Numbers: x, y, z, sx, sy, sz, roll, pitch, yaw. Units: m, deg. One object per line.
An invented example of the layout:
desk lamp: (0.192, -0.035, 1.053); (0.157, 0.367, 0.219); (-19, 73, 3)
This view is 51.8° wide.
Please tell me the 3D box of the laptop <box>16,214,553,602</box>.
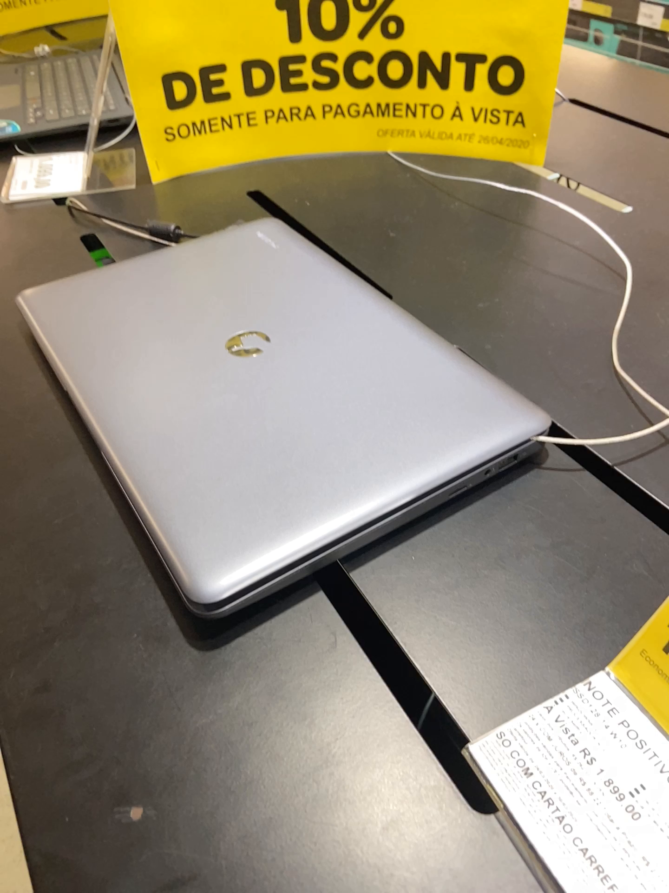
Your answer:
laptop: (-0.058, -0.065, 0.445); (0.213, 0.001, 0.331); (-25, 47, -21)
